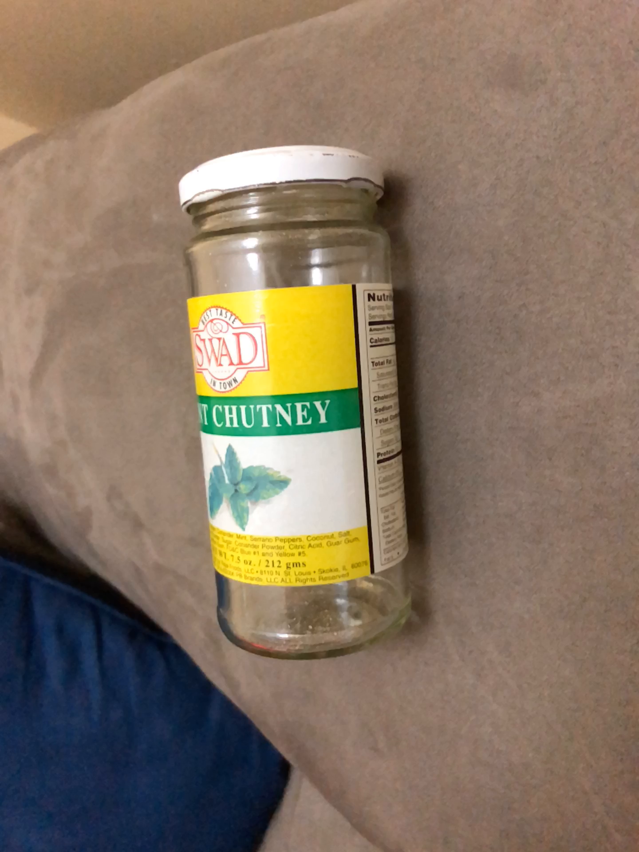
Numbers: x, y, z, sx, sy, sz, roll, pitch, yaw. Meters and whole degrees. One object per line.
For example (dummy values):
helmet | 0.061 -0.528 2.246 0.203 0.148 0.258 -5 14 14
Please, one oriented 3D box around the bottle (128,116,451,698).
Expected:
bottle | -0.007 -0.006 0.202 0.057 0.056 0.133 5 102 48
